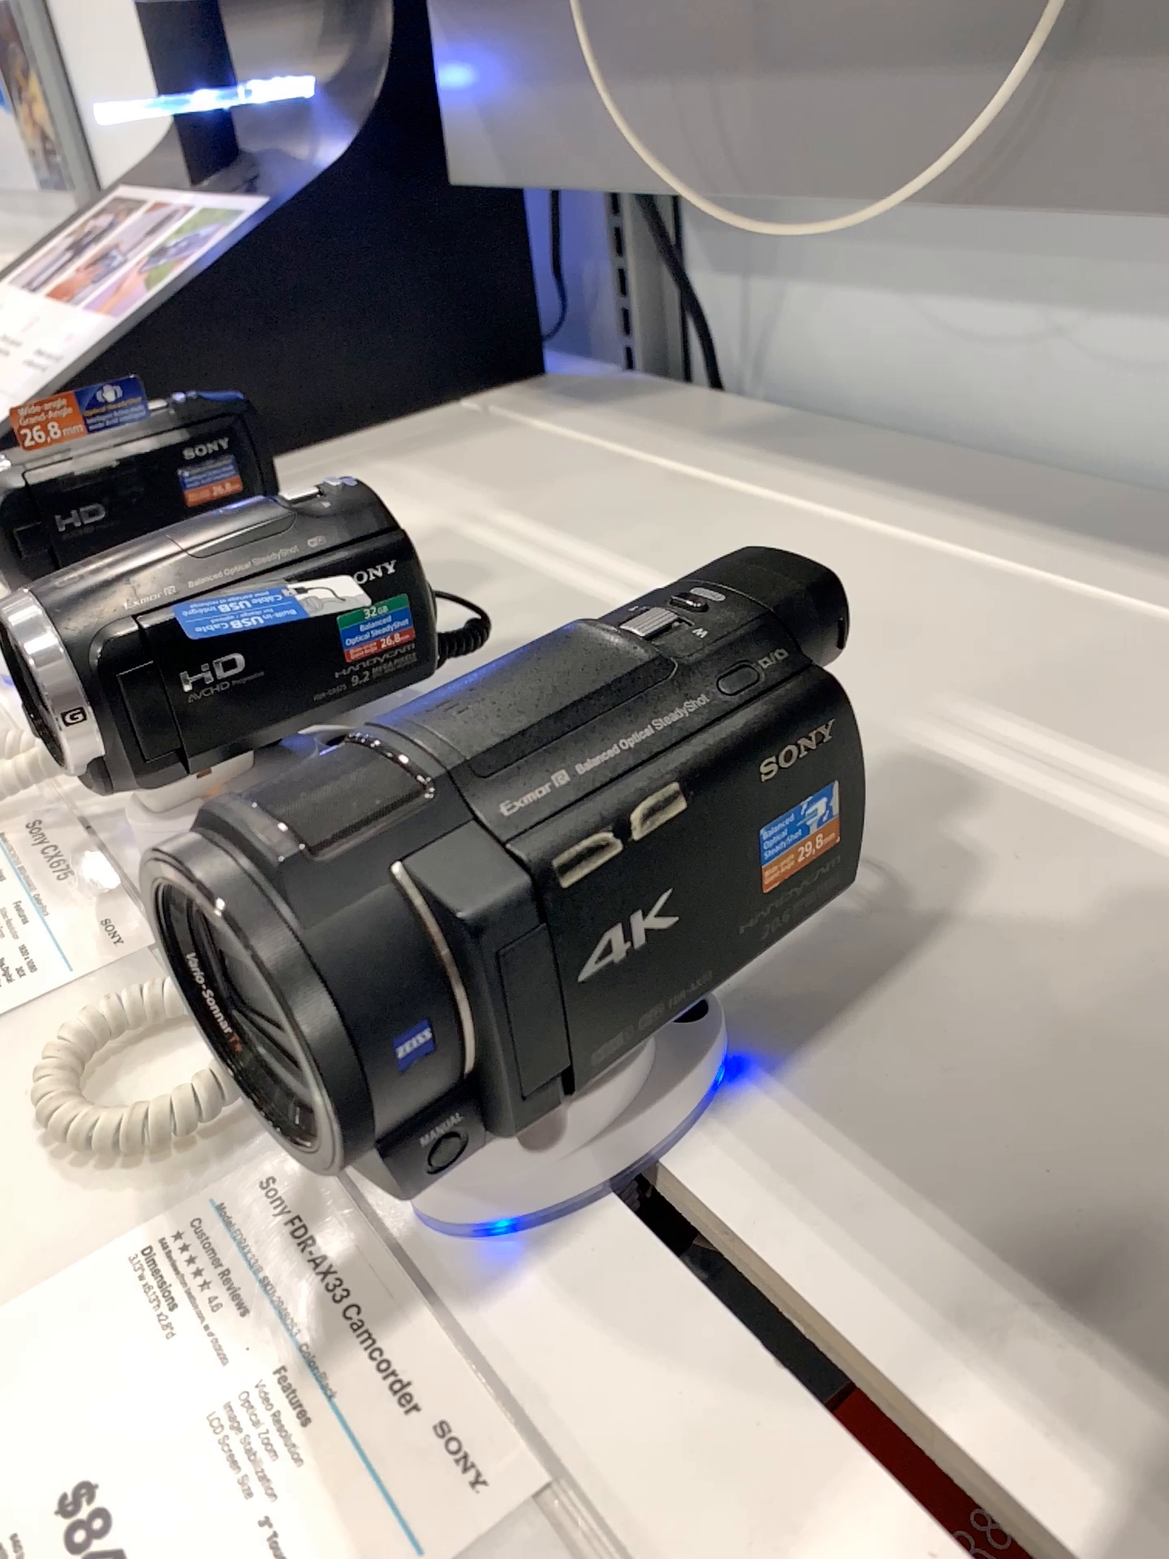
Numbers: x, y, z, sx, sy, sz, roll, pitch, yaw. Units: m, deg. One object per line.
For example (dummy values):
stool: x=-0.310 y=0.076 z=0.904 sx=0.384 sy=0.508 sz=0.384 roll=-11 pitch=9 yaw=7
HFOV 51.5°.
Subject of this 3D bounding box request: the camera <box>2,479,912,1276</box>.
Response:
camera: x=-0.020 y=0.003 z=0.242 sx=0.136 sy=0.067 sz=0.103 roll=-30 pitch=39 yaw=-30
